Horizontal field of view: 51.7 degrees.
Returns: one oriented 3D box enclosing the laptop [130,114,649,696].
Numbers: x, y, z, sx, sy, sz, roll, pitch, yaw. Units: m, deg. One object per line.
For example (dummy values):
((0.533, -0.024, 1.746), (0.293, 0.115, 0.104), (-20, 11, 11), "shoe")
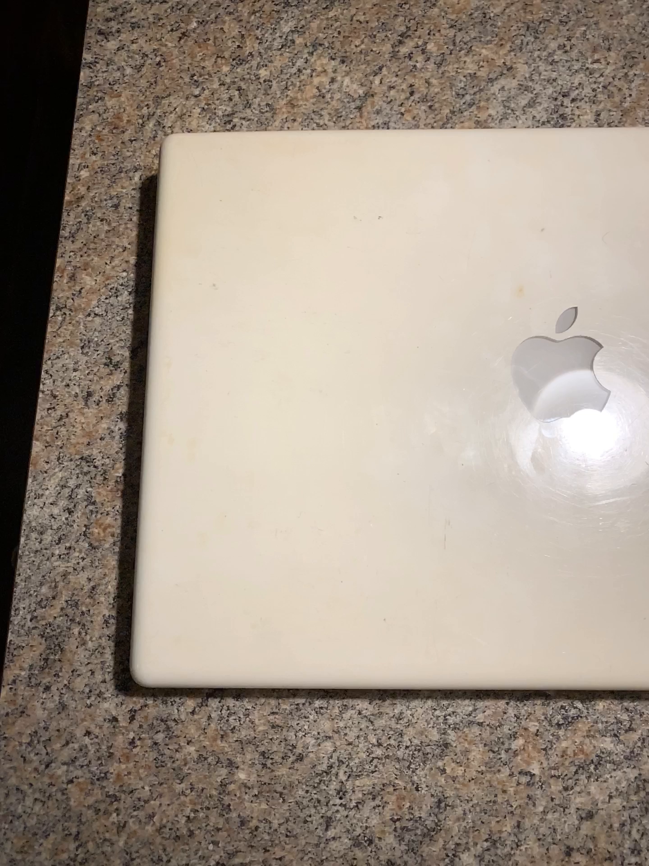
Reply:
((0.085, -0.019, 0.242), (0.305, 0.002, 0.205), (0, 77, 5), "laptop")
